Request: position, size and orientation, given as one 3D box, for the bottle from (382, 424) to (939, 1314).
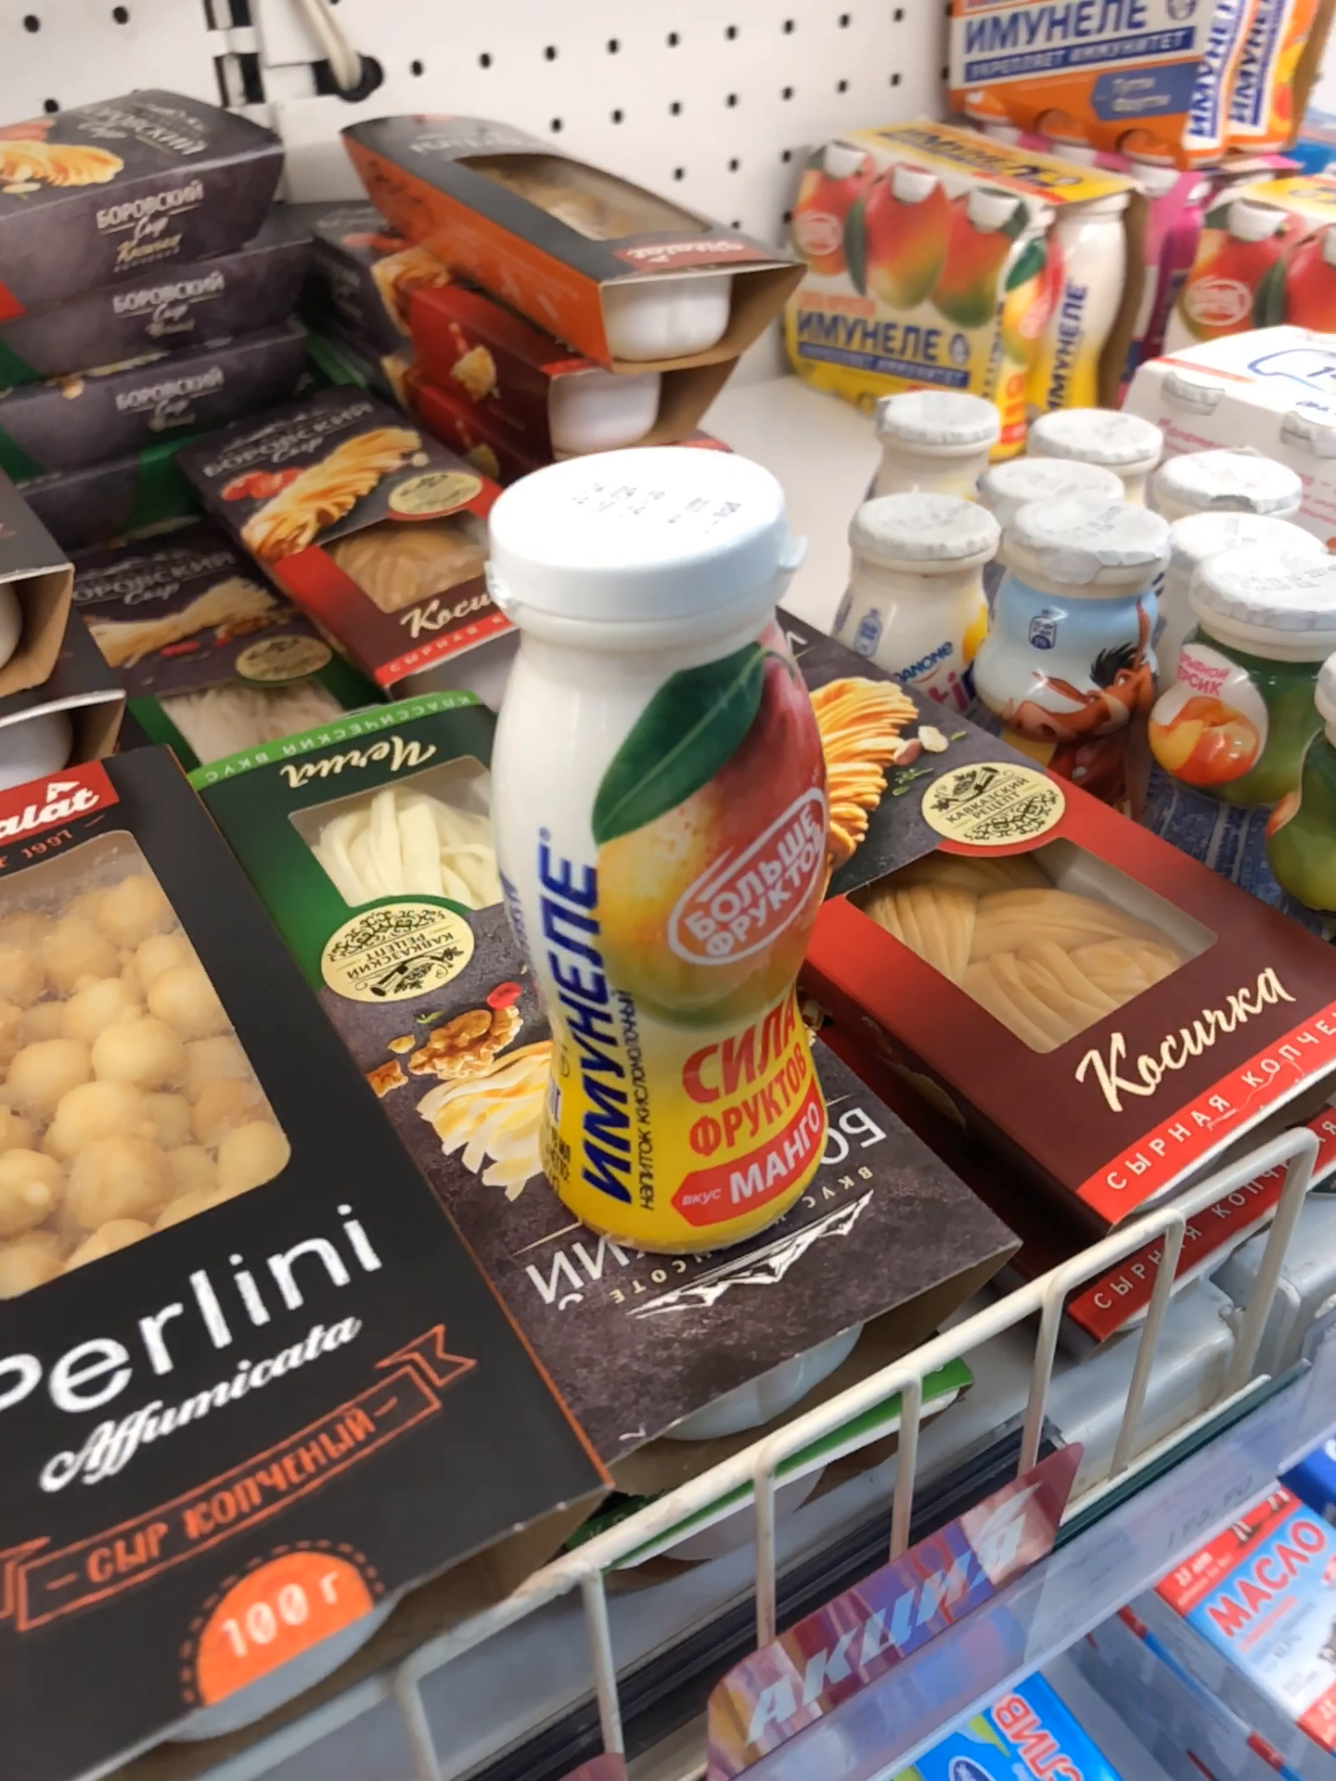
[{"bbox_3d":[0.002,-0.002,0.197,0.044,0.099,0.046,-2,35,1],"label":"bottle"}]
